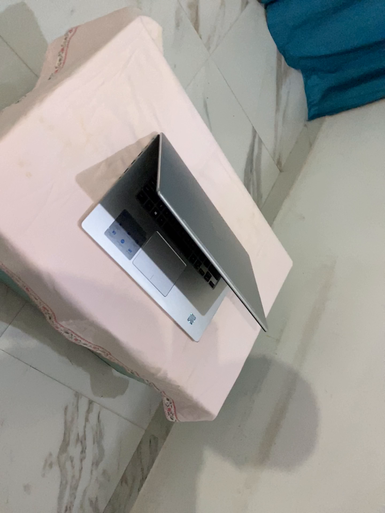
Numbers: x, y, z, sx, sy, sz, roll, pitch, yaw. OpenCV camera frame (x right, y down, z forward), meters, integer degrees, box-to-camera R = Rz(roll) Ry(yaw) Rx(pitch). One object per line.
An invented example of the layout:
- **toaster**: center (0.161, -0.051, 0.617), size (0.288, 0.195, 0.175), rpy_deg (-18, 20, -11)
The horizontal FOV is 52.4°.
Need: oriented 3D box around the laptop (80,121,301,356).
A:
- **laptop**: center (0.023, -0.020, 0.721), size (0.348, 0.148, 0.234), rpy_deg (50, 60, -33)
